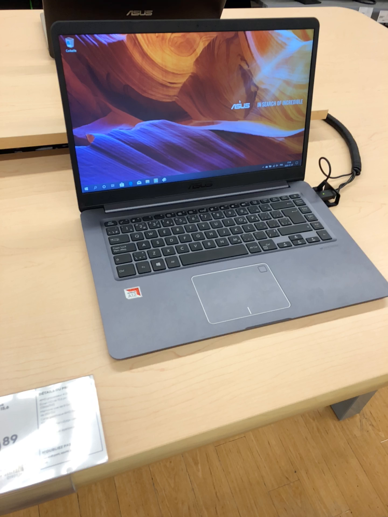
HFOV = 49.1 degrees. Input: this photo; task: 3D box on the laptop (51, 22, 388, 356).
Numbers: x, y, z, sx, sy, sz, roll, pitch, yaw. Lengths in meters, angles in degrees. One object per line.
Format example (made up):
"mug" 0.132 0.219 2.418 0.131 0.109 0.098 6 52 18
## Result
"laptop" 0.044 -0.115 0.525 0.361 0.223 0.318 -10 48 -16
